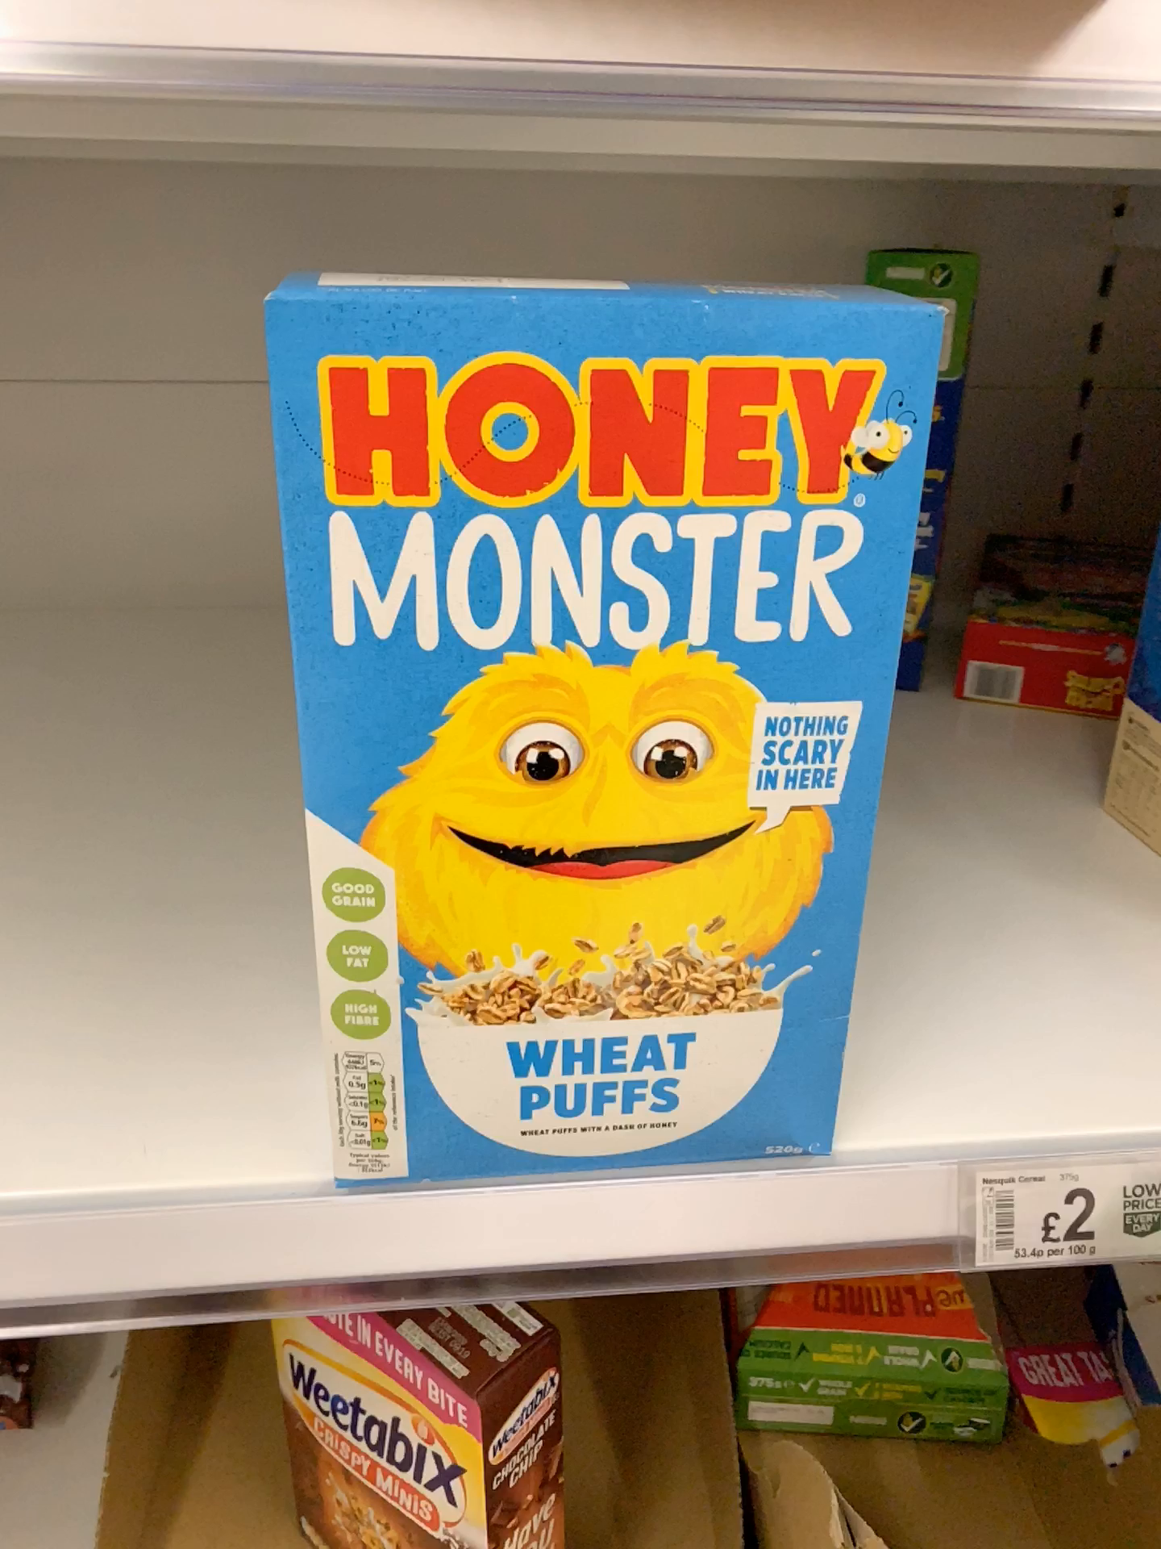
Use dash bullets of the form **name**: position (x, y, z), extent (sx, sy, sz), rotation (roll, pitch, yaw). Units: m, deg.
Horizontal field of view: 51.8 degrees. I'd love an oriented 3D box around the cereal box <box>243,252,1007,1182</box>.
- **cereal box**: position (0.007, -0.014, 0.411), extent (0.200, 0.297, 0.091), rotation (-1, 24, -6)
